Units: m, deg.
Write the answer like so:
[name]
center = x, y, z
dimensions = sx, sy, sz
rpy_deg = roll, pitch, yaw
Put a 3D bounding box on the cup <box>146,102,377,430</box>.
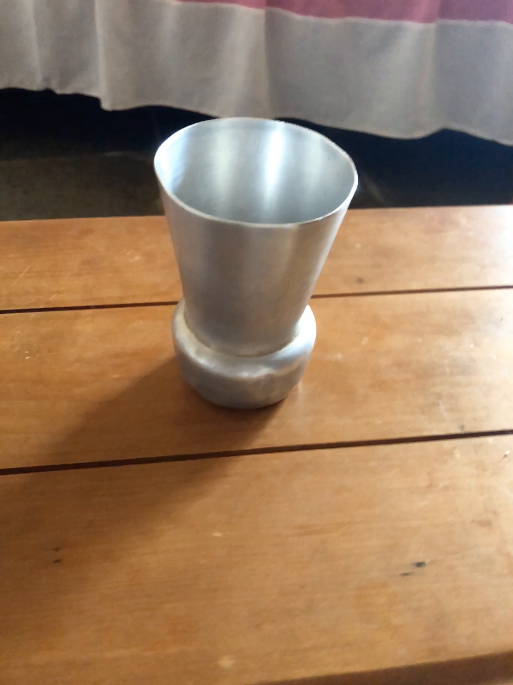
[cup]
center = -0.005, -0.029, 0.235
dimensions = 0.070, 0.109, 0.070
rpy_deg = 2, 44, -2
